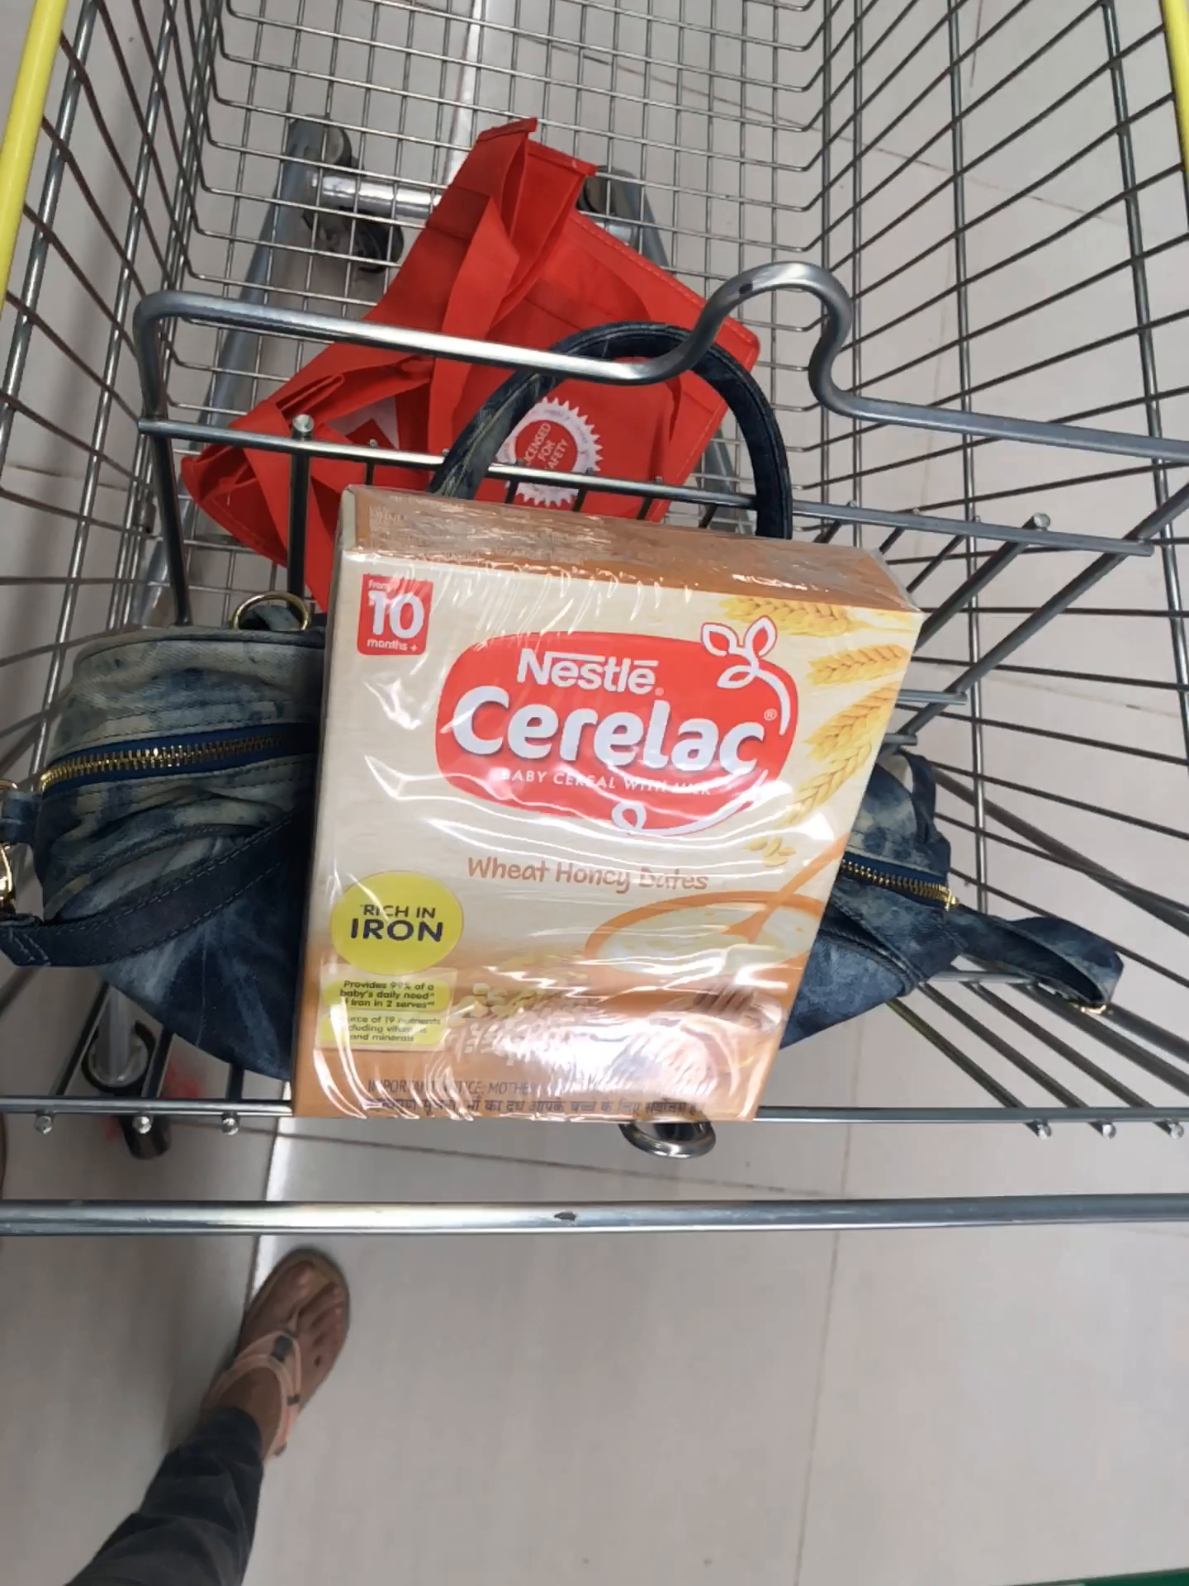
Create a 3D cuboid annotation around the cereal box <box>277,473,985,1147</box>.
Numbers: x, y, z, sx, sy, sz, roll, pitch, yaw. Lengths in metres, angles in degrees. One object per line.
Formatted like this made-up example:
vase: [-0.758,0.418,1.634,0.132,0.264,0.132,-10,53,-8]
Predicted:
cereal box: [-0.002,0.016,0.397,0.170,0.060,0.190,4,121,-14]
